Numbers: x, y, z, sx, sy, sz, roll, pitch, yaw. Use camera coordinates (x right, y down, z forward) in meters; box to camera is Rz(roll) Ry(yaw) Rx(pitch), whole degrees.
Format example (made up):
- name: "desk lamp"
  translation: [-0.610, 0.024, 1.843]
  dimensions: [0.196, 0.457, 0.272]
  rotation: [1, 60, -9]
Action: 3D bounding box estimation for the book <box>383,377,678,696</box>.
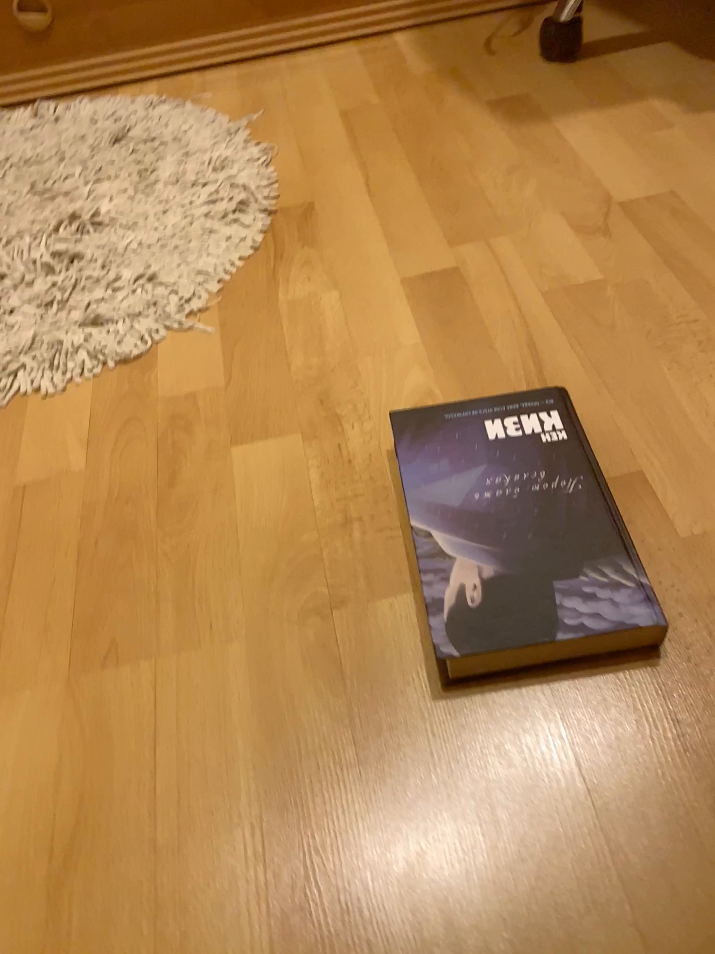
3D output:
- name: "book"
  translation: [0.109, 0.032, 0.532]
  dimensions: [0.150, 0.050, 0.225]
  rotation: [-8, 50, 0]
